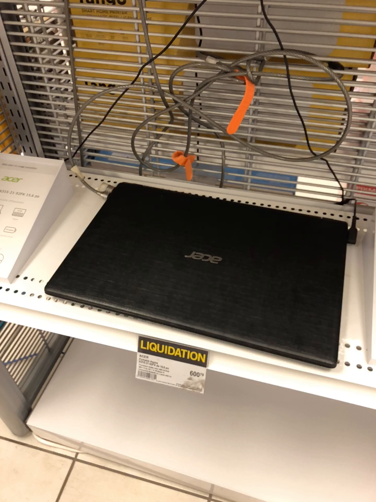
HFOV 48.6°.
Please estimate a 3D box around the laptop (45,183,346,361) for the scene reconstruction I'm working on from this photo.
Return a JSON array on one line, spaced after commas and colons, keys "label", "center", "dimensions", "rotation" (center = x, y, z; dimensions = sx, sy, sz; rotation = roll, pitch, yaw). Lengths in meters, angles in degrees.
[{"label": "laptop", "center": [0.026, 0.004, 0.601], "dimensions": [0.374, 0.003, 0.248], "rotation": [12, 46, 13]}]
